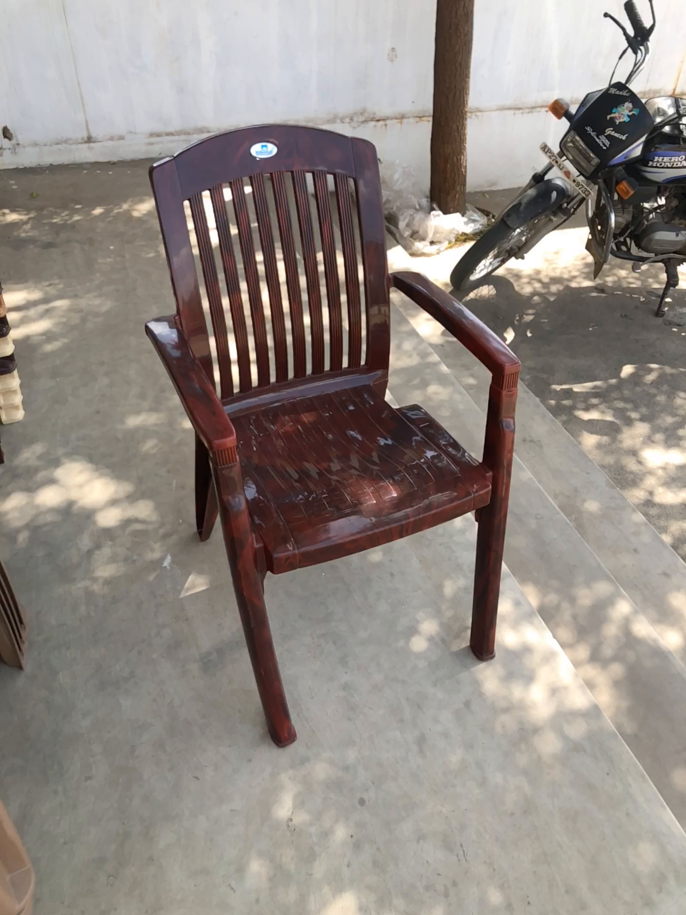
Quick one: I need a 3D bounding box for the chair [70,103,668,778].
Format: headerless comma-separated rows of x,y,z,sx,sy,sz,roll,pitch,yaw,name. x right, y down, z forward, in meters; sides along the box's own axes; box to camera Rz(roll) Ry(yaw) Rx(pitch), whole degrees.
-0.022,-0.057,1.367,0.612,0.856,0.692,-17,45,-21,chair
